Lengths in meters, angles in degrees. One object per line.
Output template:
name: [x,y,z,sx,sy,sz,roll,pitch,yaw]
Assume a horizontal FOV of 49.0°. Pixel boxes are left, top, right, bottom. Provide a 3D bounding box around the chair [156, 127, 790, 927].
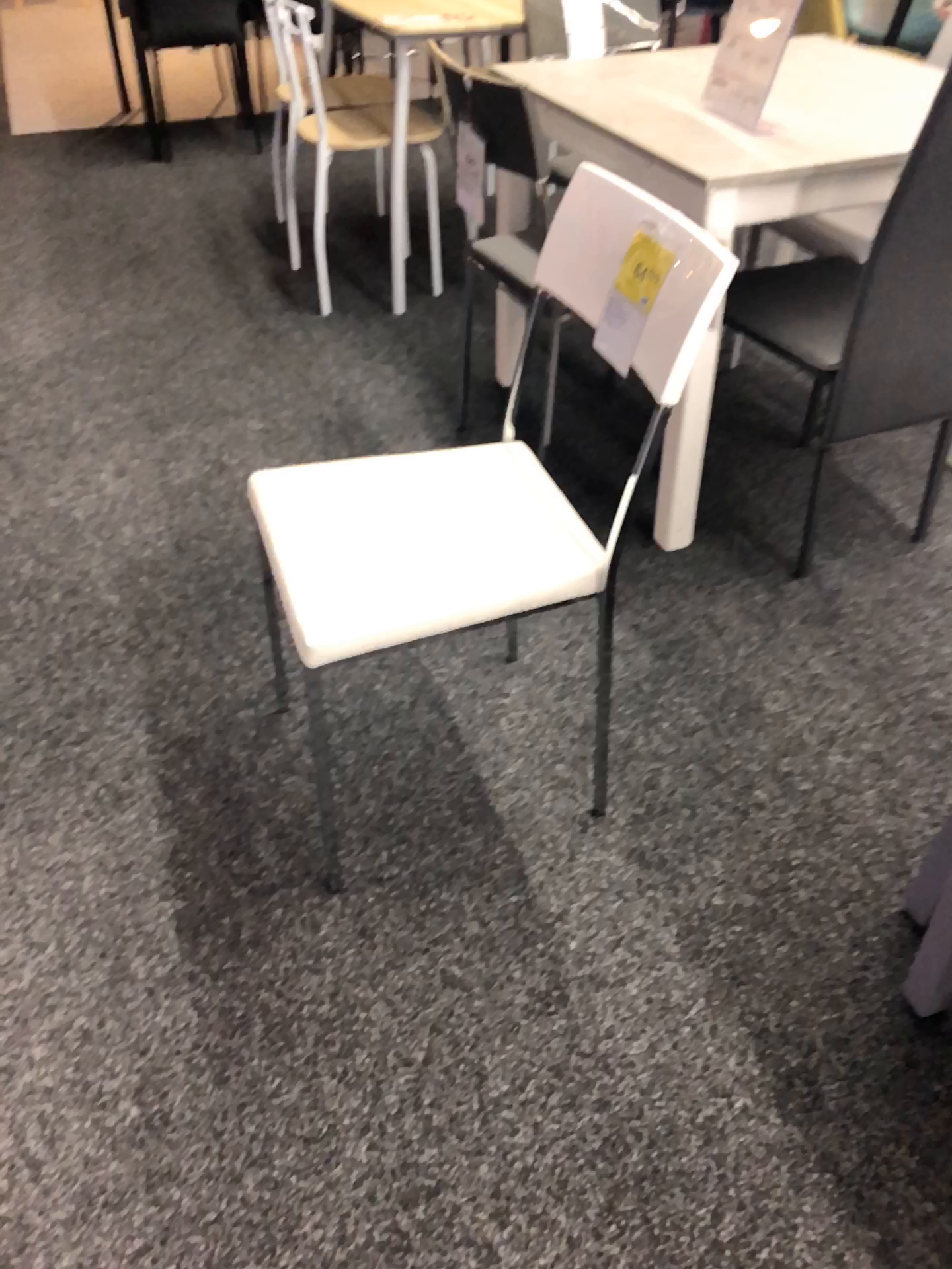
chair: [-0.036,-0.142,1.371,0.541,0.815,0.502,-13,41,-16]
